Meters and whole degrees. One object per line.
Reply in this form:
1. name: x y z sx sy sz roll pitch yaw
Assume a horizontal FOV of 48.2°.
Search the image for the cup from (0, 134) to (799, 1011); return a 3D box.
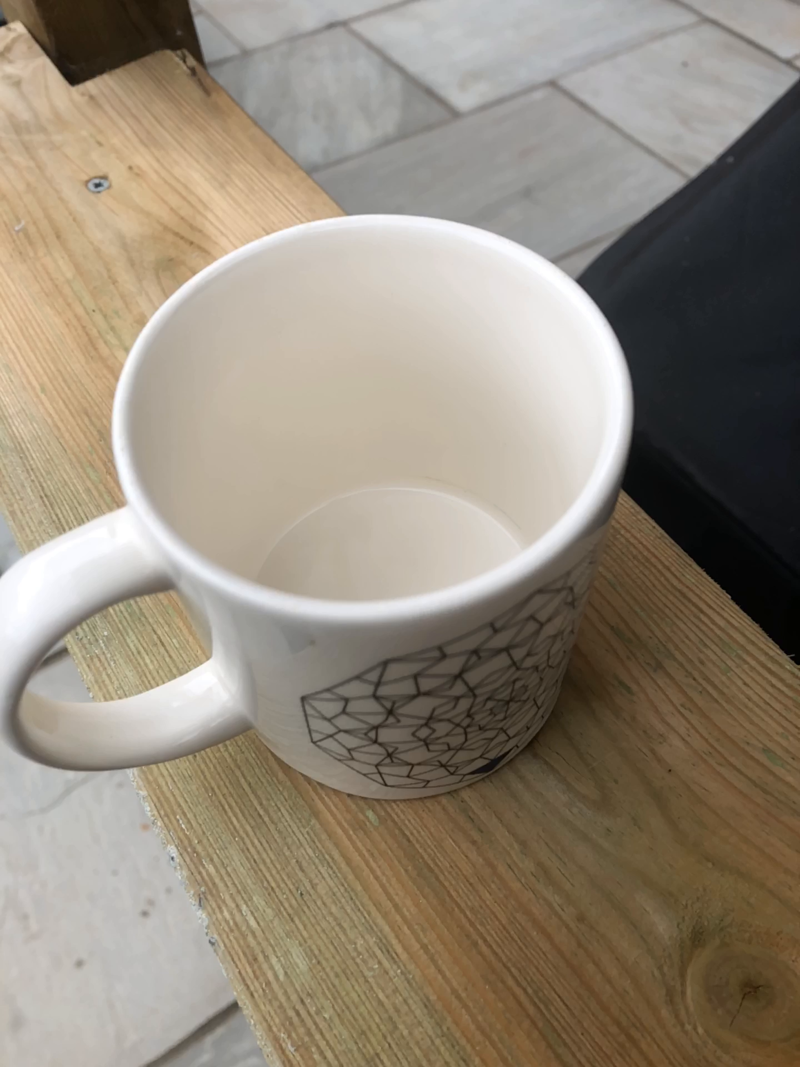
1. cup: -0.013 0.005 0.178 0.130 0.089 0.090 -31 60 -19
